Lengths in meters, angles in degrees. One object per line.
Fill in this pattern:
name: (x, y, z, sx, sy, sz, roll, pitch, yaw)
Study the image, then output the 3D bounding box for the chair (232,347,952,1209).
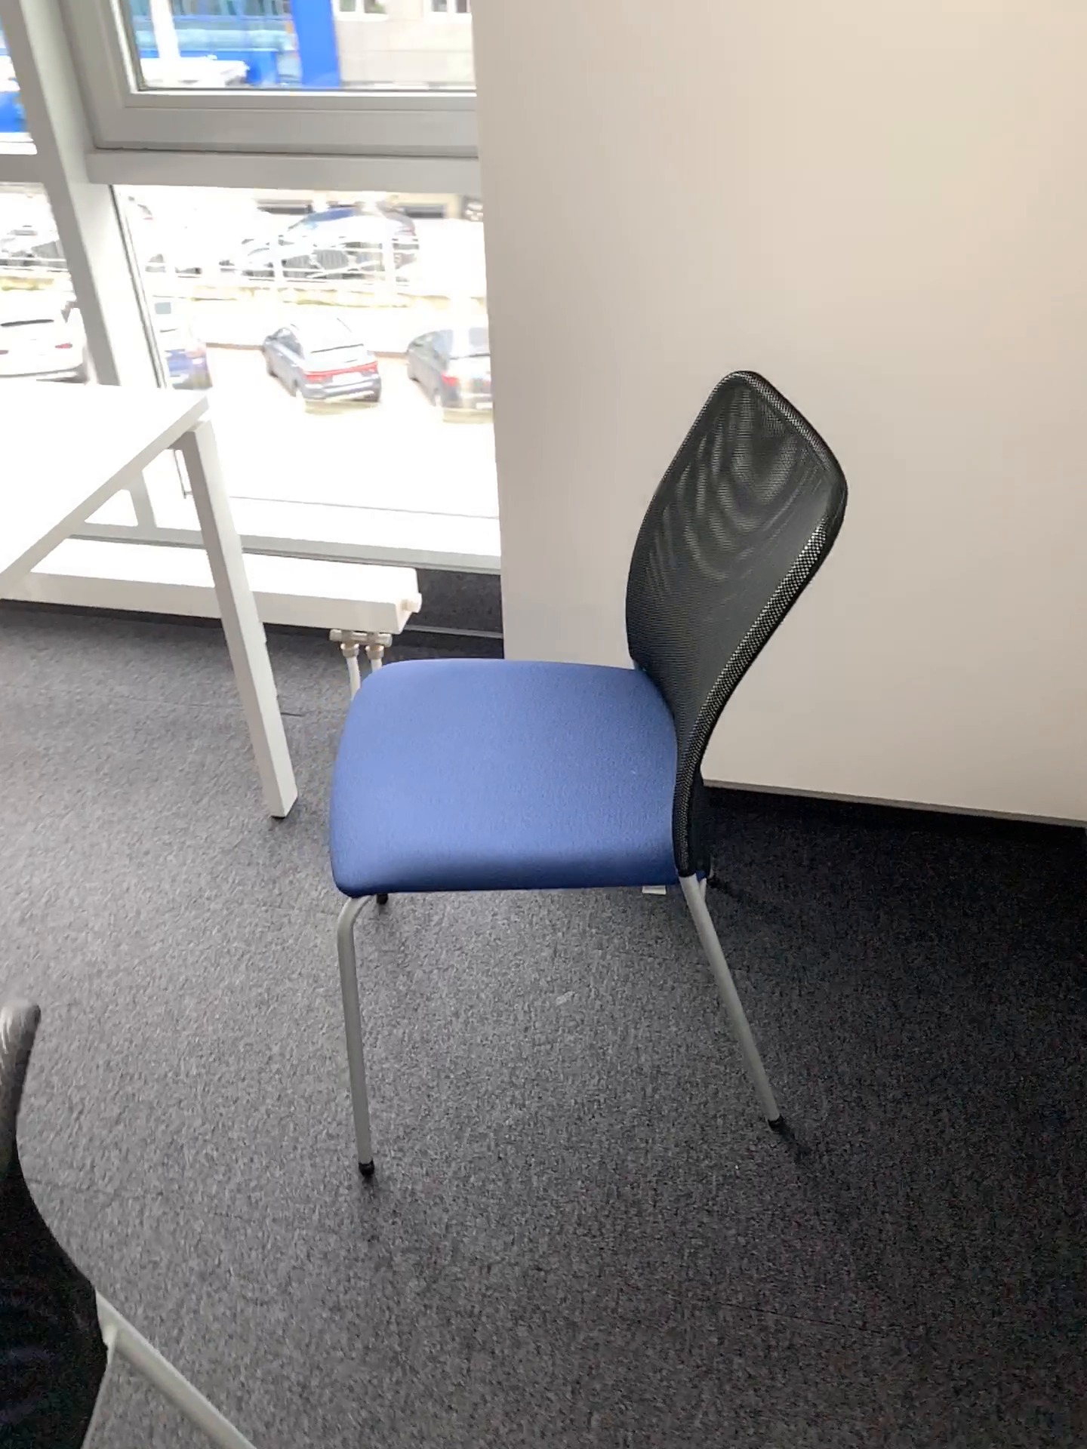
chair: (0.028, 0.083, 1.384, 0.590, 0.895, 0.533, -4, 38, -4)
